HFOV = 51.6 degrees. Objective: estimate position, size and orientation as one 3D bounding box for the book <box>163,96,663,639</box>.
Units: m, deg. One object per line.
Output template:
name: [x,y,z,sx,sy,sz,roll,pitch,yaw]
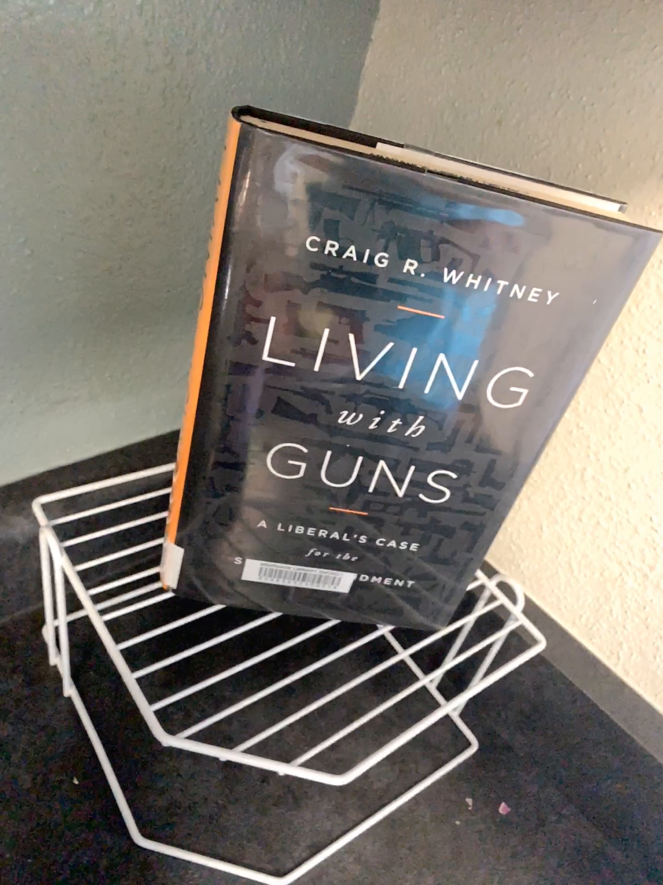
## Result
book: [0.021,-0.013,0.317,0.171,0.229,0.040,9,32,-7]
